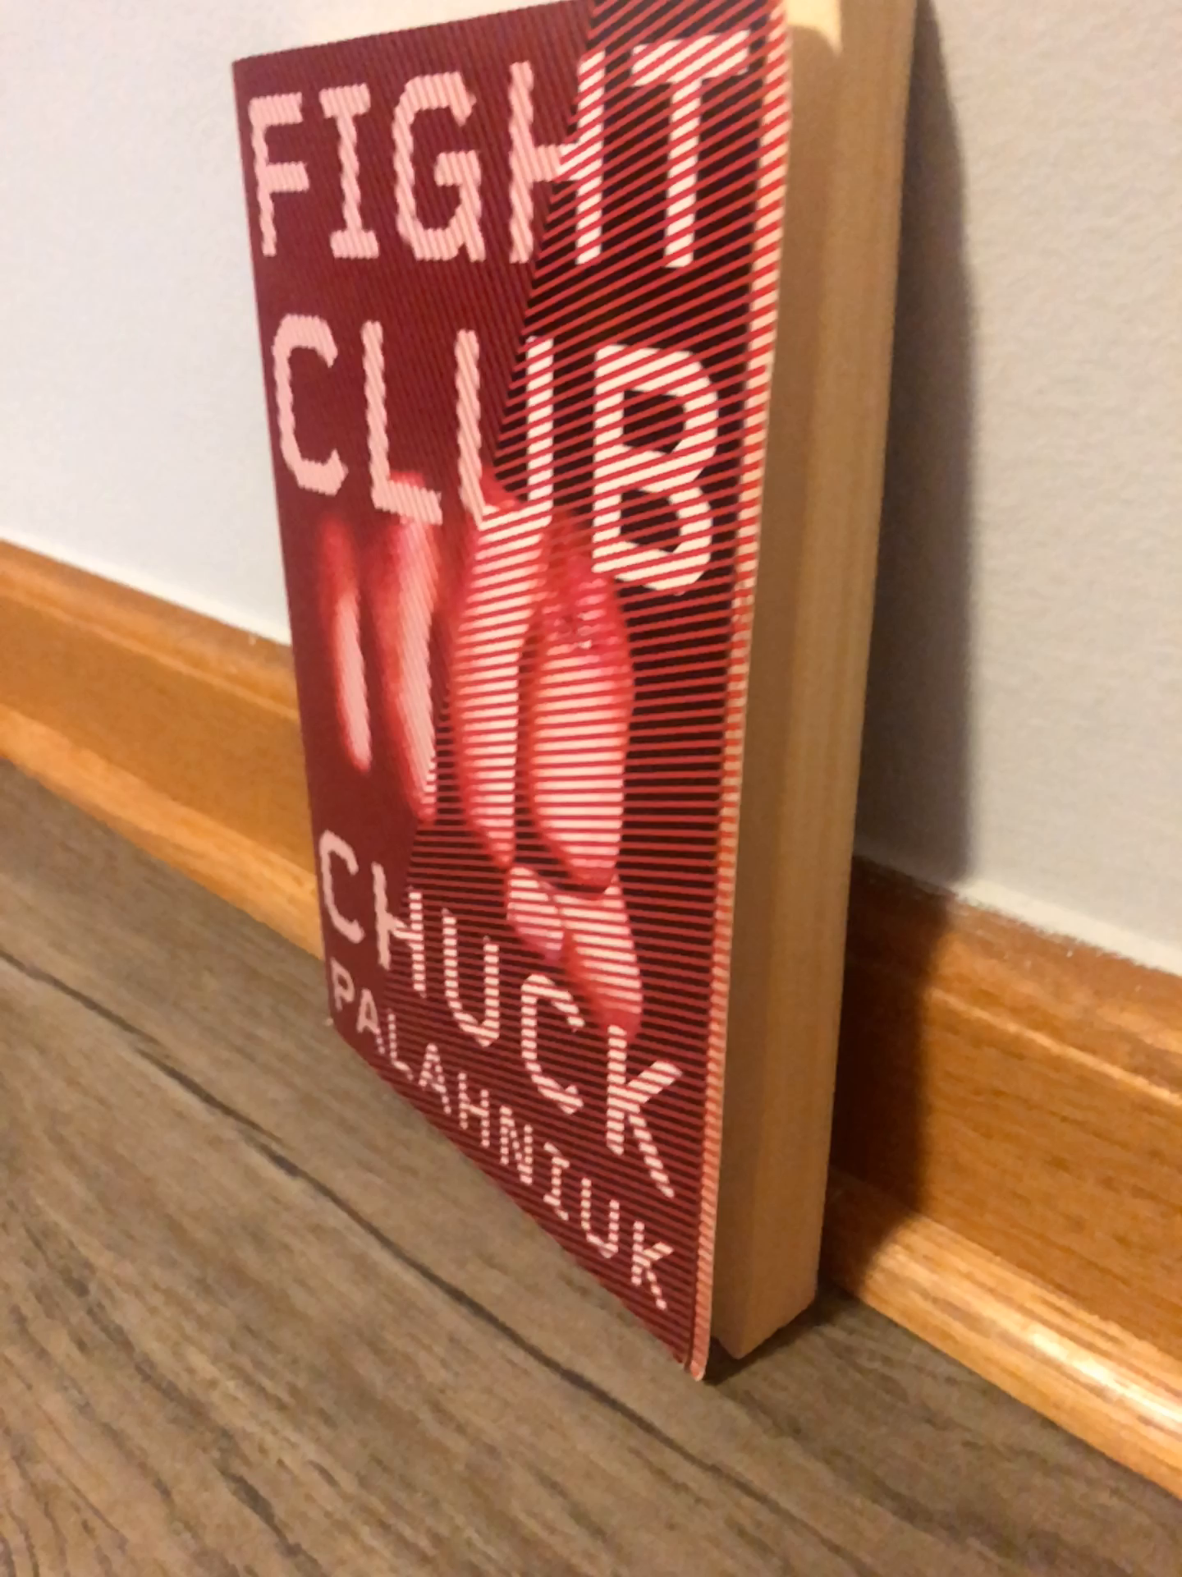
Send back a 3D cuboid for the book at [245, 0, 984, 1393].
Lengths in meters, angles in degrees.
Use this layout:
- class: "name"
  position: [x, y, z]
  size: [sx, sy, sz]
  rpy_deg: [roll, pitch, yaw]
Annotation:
- class: "book"
  position: [-0.007, -0.019, 0.242]
  size: [0.030, 0.210, 0.139]
  rpy_deg: [-18, 29, -35]
